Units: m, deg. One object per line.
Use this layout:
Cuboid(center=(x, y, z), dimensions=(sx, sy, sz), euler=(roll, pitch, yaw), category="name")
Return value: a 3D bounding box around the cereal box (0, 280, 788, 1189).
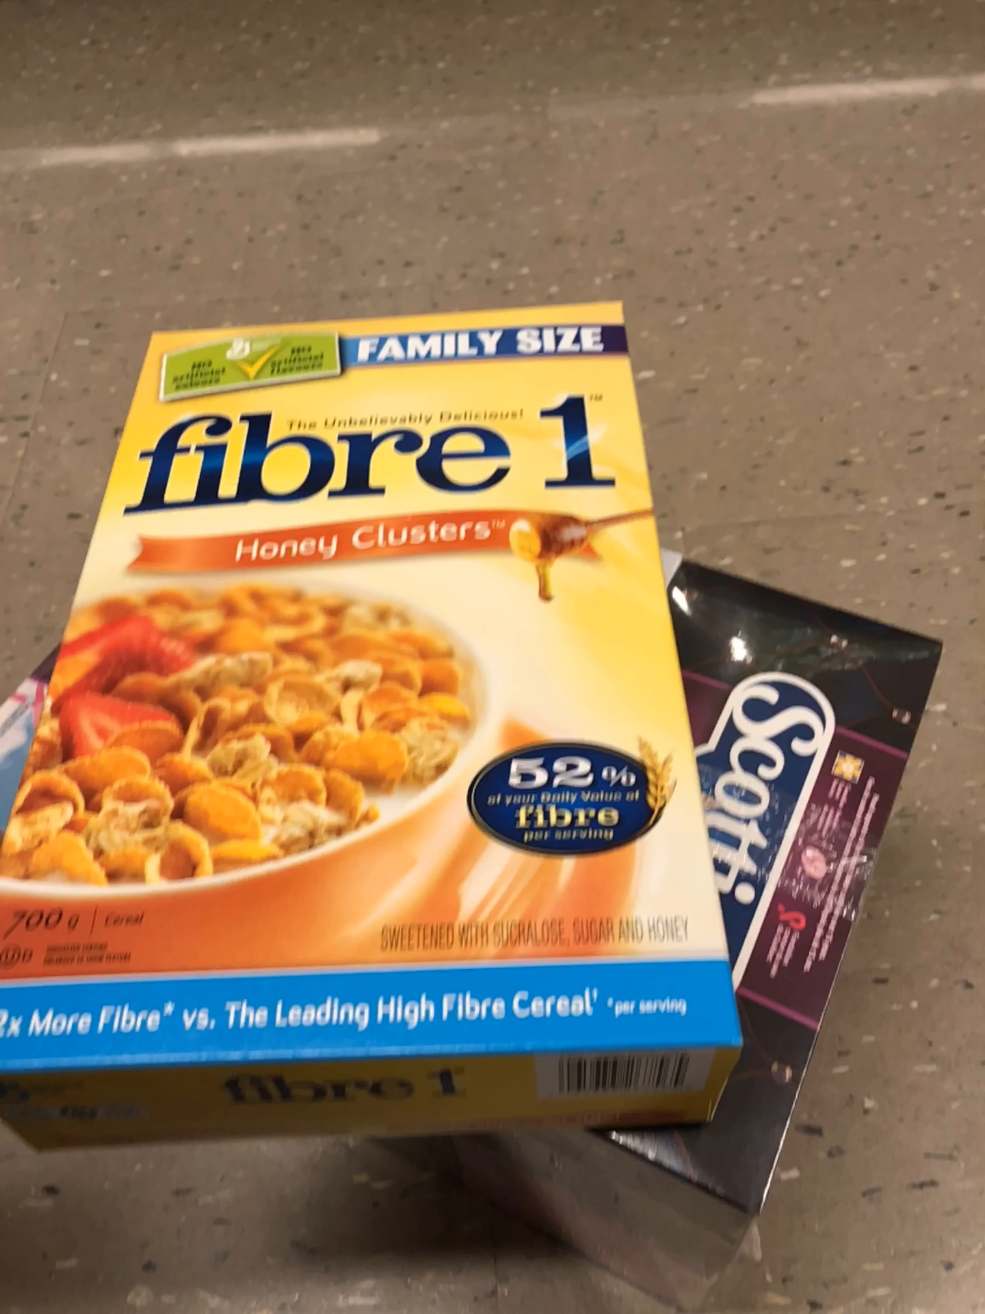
Cuboid(center=(-0.036, -0.002, 0.381), dimensions=(0.200, 0.080, 0.321), euler=(-3, 50, 1), category="cereal box")
